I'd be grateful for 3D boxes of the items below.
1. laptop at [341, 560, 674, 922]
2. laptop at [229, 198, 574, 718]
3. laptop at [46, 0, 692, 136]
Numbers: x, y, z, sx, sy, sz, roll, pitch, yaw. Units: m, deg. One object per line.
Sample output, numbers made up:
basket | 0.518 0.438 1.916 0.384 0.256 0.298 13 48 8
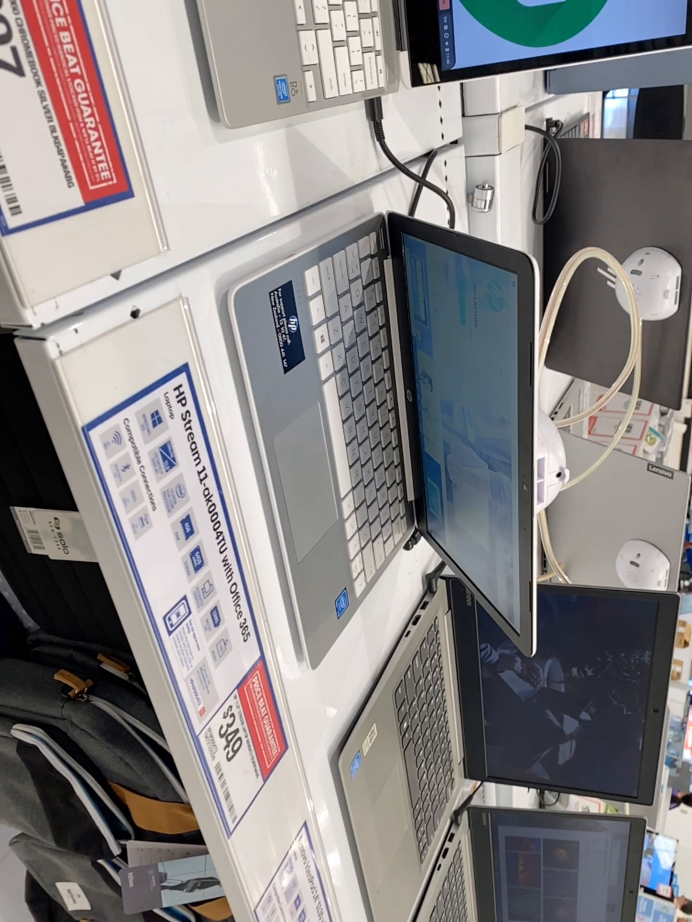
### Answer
laptop | 0.179 0.325 0.702 0.276 0.212 0.327 -48 137 -47
laptop | 0.060 -0.011 0.483 0.181 0.138 0.277 -45 134 -48
laptop | 0.071 -0.334 0.355 0.298 0.189 0.258 -47 137 -48
